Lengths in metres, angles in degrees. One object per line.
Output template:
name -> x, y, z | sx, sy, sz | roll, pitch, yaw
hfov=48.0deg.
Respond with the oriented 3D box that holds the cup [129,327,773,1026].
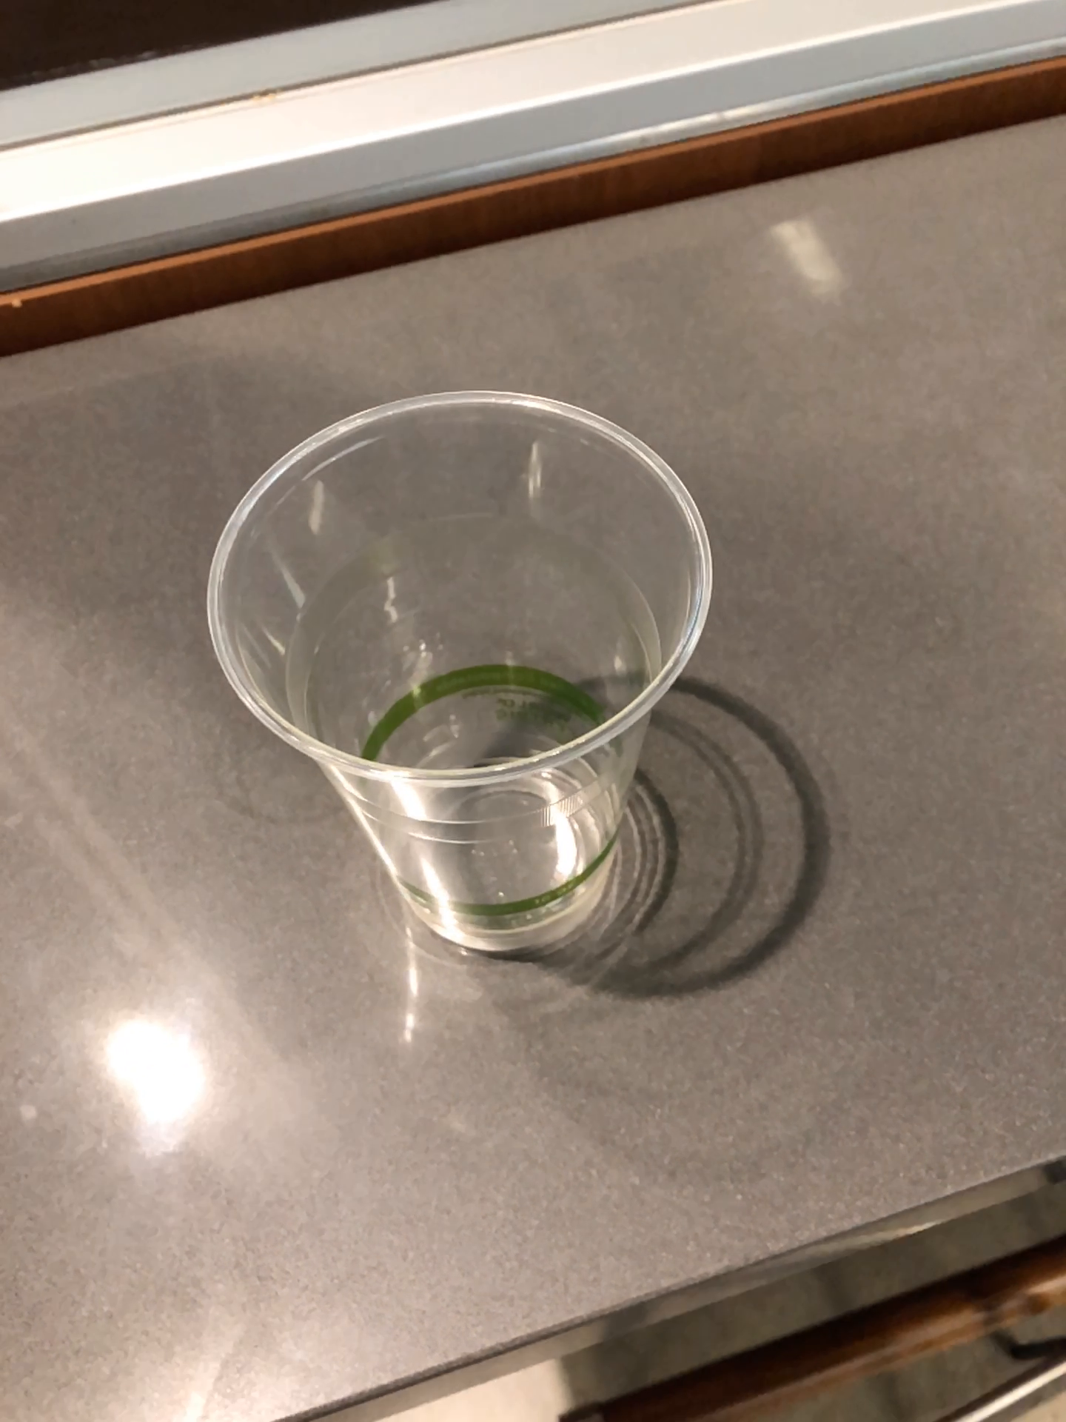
cup -> -0.008, -0.006, 0.275 | 0.100, 0.110, 0.100 | -2, 55, 3
